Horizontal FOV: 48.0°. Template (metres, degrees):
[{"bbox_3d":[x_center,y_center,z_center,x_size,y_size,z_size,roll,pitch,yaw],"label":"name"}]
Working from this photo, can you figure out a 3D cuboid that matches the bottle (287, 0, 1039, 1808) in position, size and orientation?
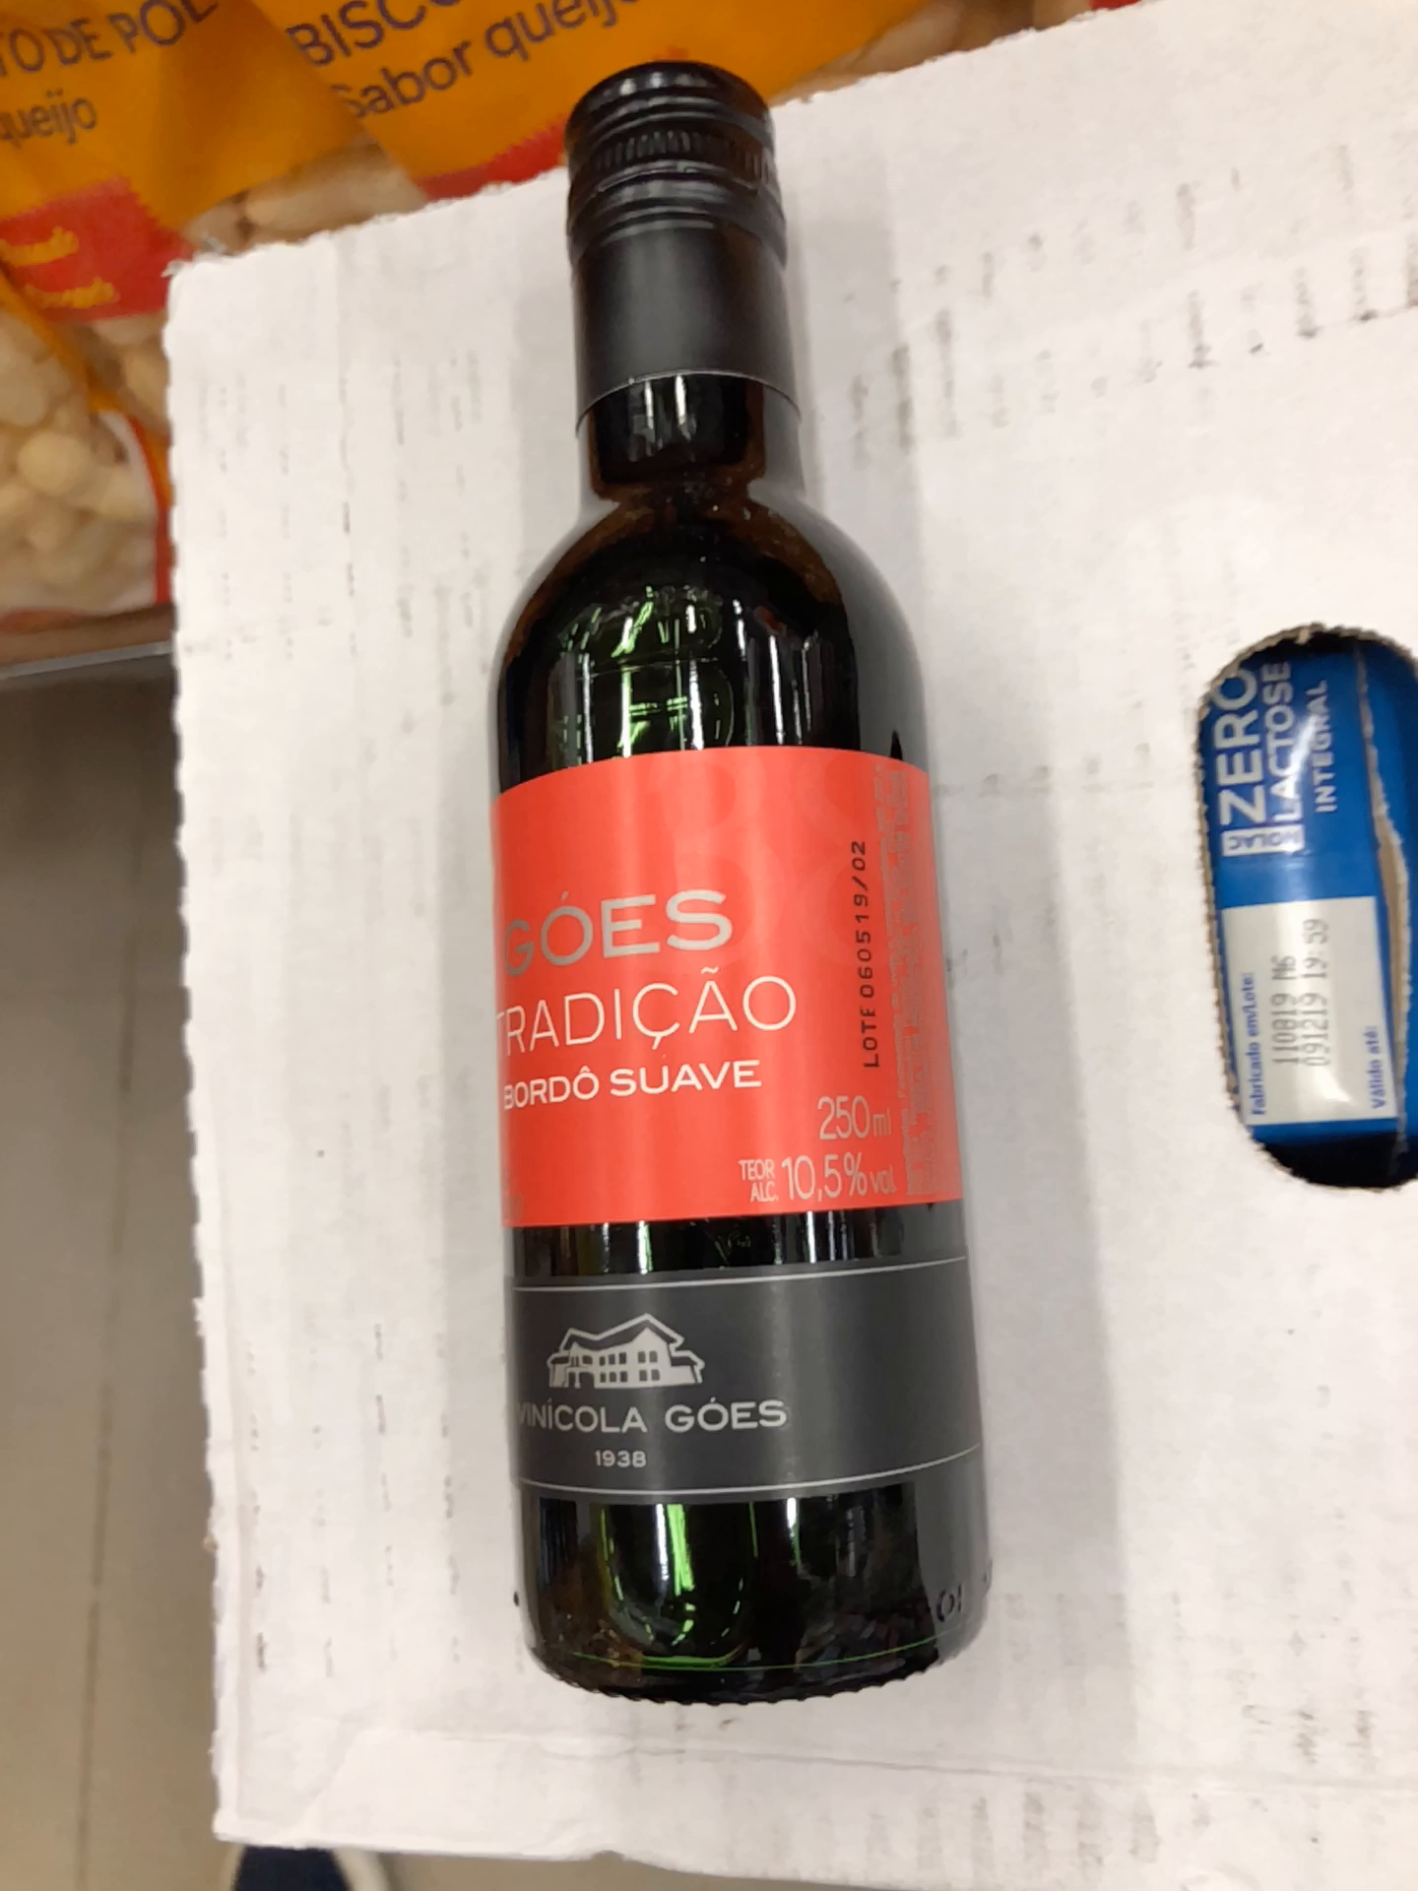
[{"bbox_3d":[-0.006,-0.023,0.187,0.060,0.050,0.210,-8,80,21],"label":"bottle"}]
